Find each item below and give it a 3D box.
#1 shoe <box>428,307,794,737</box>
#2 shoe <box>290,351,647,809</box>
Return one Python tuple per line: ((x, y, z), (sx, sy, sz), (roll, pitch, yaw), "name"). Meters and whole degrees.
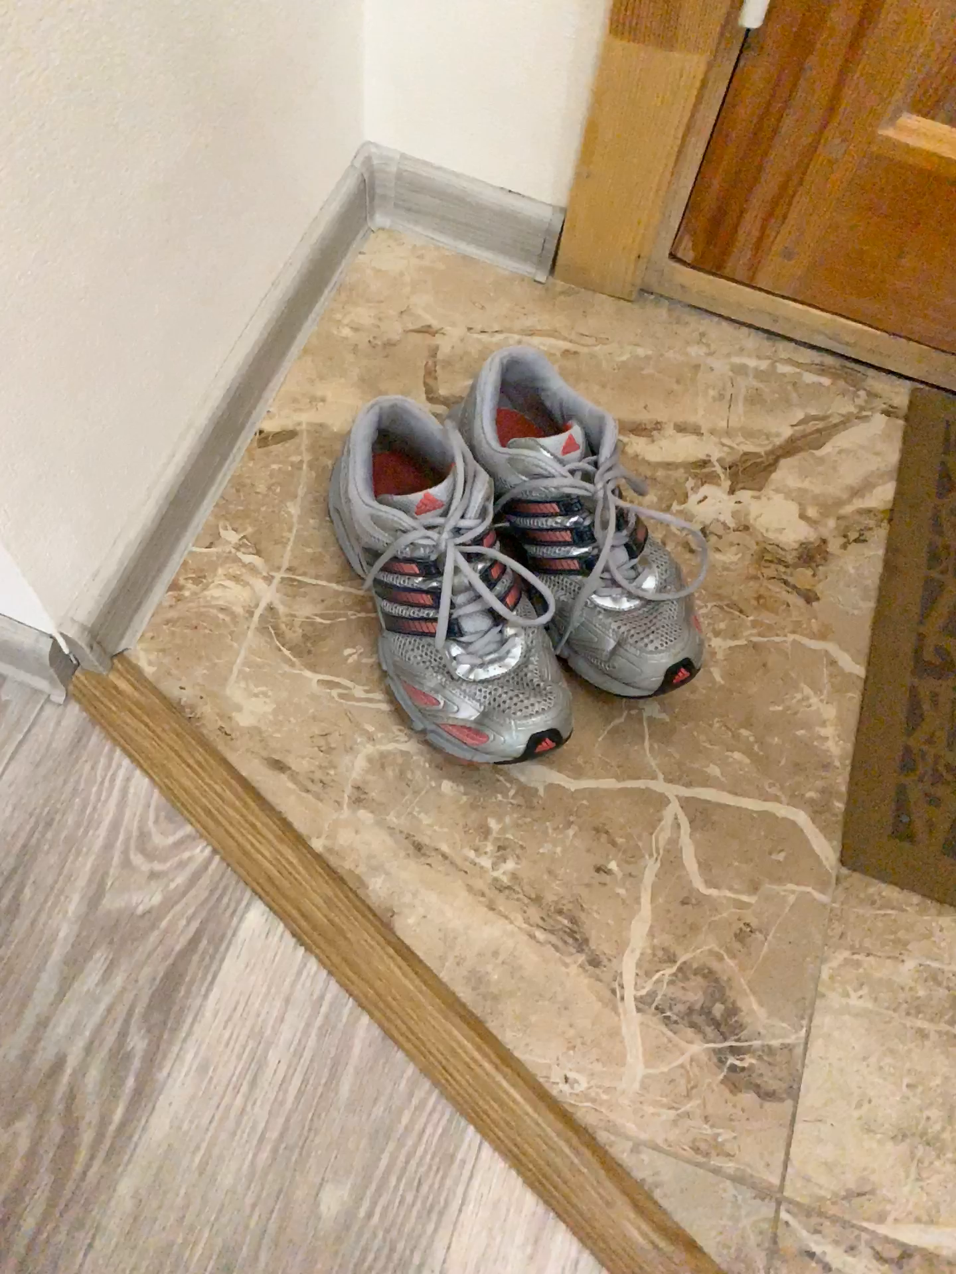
((0.071, -0.077, 0.617), (0.110, 0.090, 0.240), (-21, 67, -16), "shoe")
((-0.015, -0.039, 0.585), (0.110, 0.090, 0.240), (-20, 67, -16), "shoe")
